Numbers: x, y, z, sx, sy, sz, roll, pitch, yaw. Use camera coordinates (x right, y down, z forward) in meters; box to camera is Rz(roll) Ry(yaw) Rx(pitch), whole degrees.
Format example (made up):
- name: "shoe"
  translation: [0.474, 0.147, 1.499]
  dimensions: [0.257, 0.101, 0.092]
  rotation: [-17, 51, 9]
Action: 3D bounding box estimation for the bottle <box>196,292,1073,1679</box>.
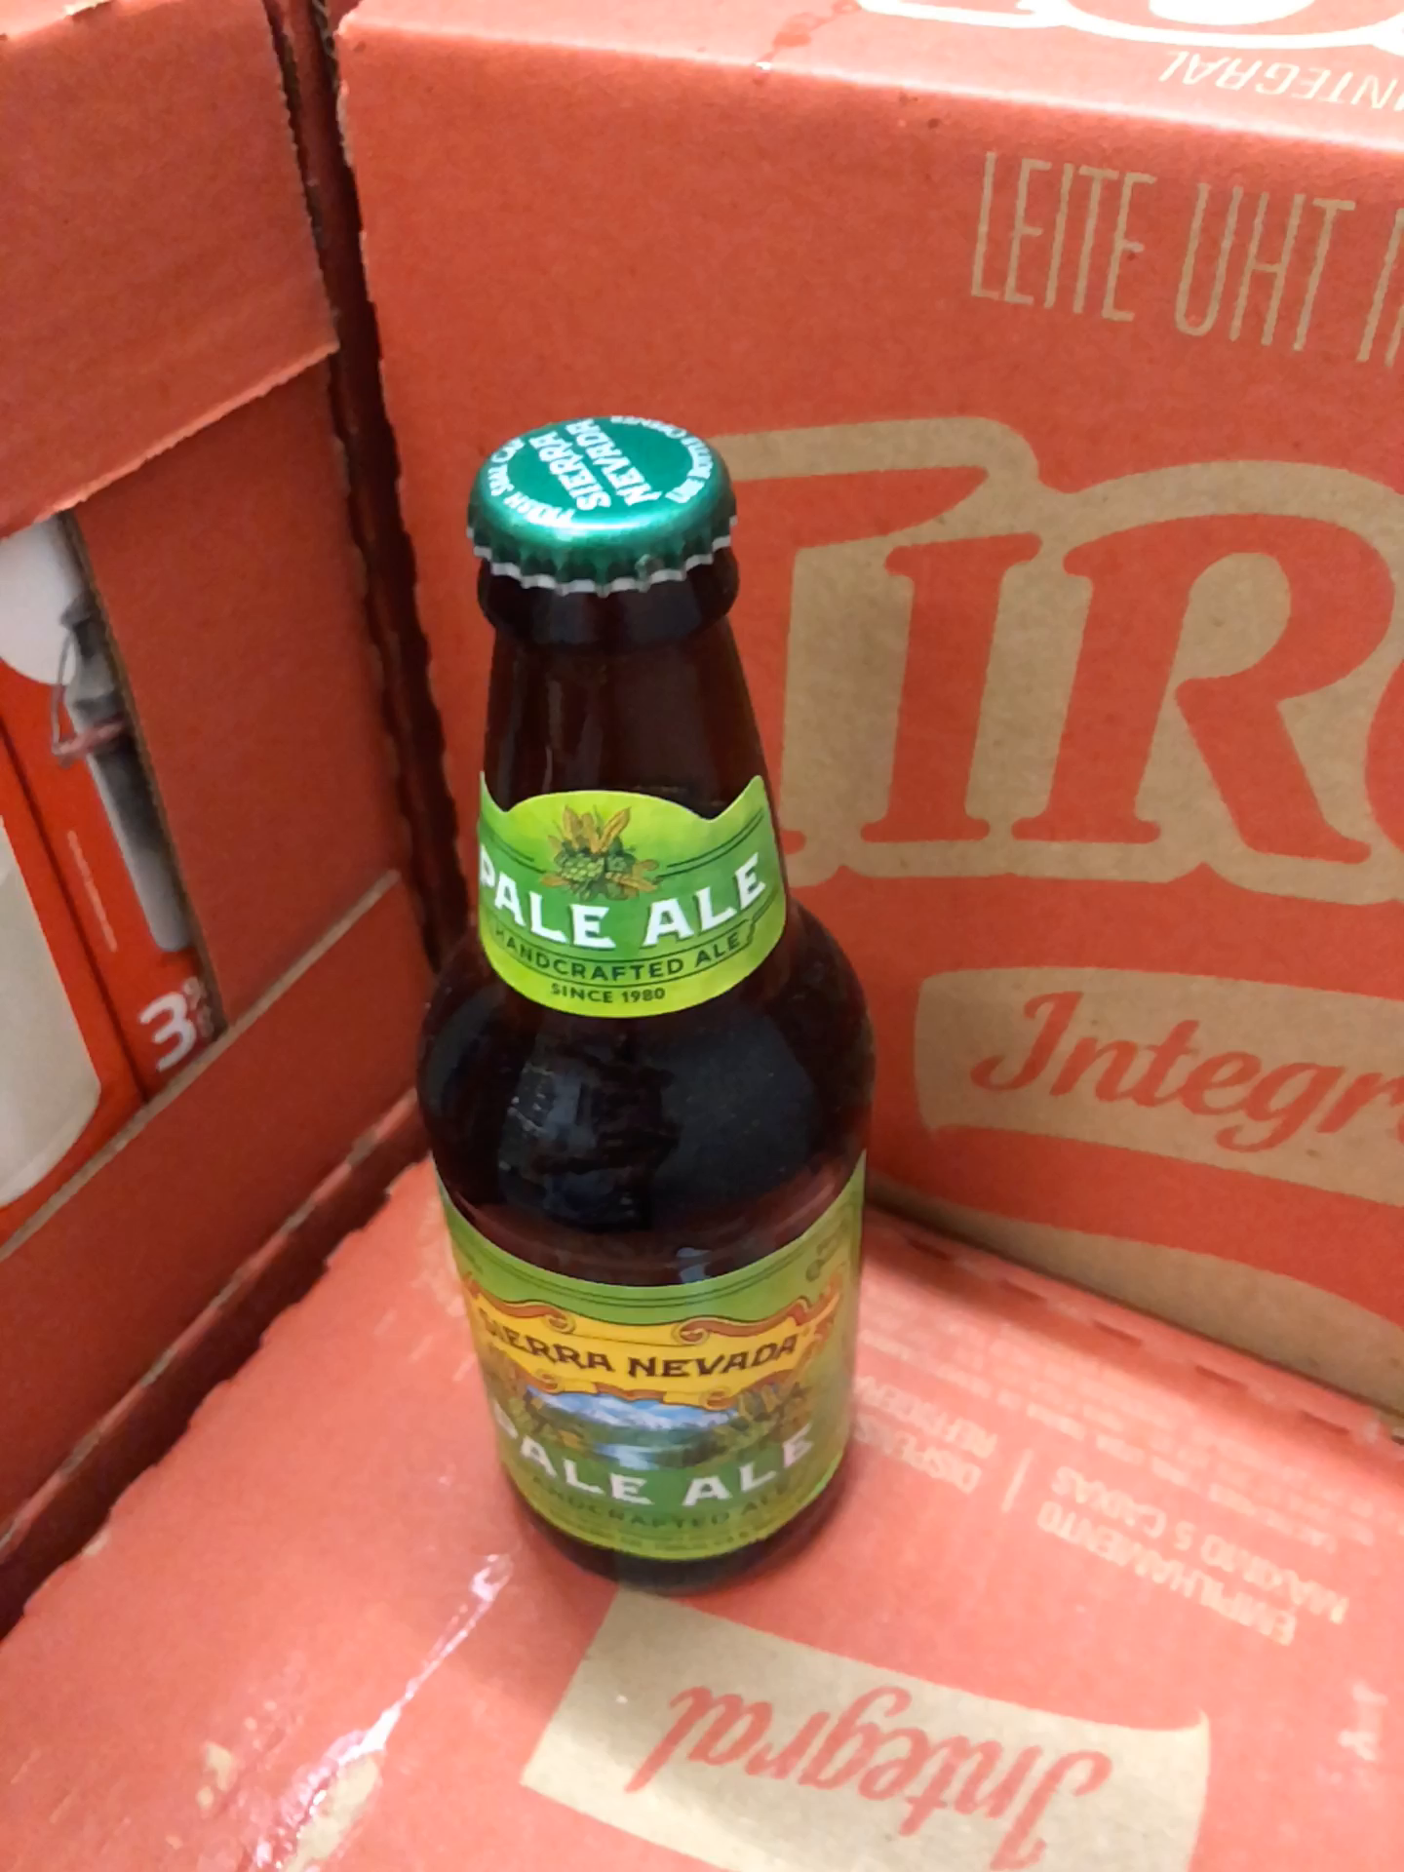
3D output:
- name: "bottle"
  translation: [-0.002, 0.022, 0.214]
  dimensions: [0.070, 0.189, 0.060]
  rotation: [9, 43, 10]
